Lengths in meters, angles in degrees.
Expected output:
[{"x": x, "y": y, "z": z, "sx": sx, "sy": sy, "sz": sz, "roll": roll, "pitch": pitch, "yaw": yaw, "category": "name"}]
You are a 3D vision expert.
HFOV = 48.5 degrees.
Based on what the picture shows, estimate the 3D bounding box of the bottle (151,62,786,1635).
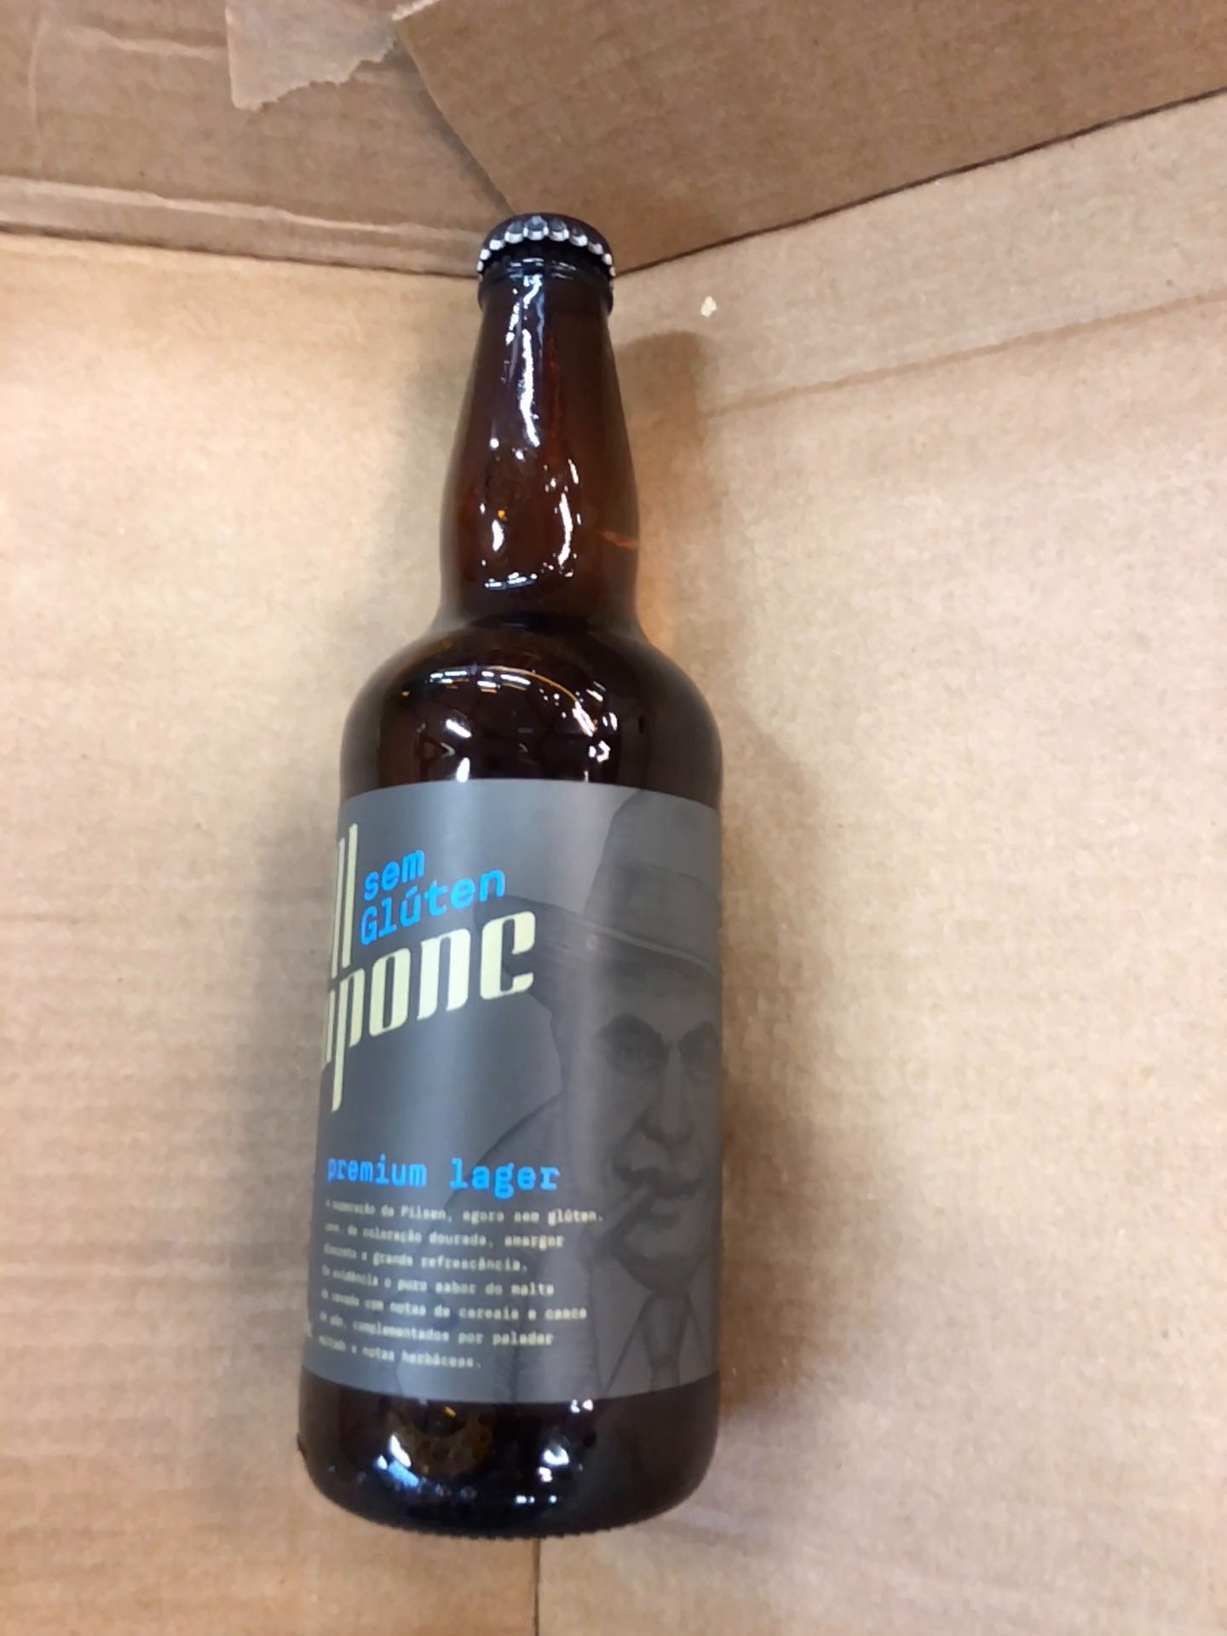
[{"x": -0.015, "y": -0.001, "z": 0.236, "sx": 0.080, "sy": 0.060, "sz": 0.240, "roll": -2, "pitch": 75, "yaw": 15, "category": "bottle"}]
